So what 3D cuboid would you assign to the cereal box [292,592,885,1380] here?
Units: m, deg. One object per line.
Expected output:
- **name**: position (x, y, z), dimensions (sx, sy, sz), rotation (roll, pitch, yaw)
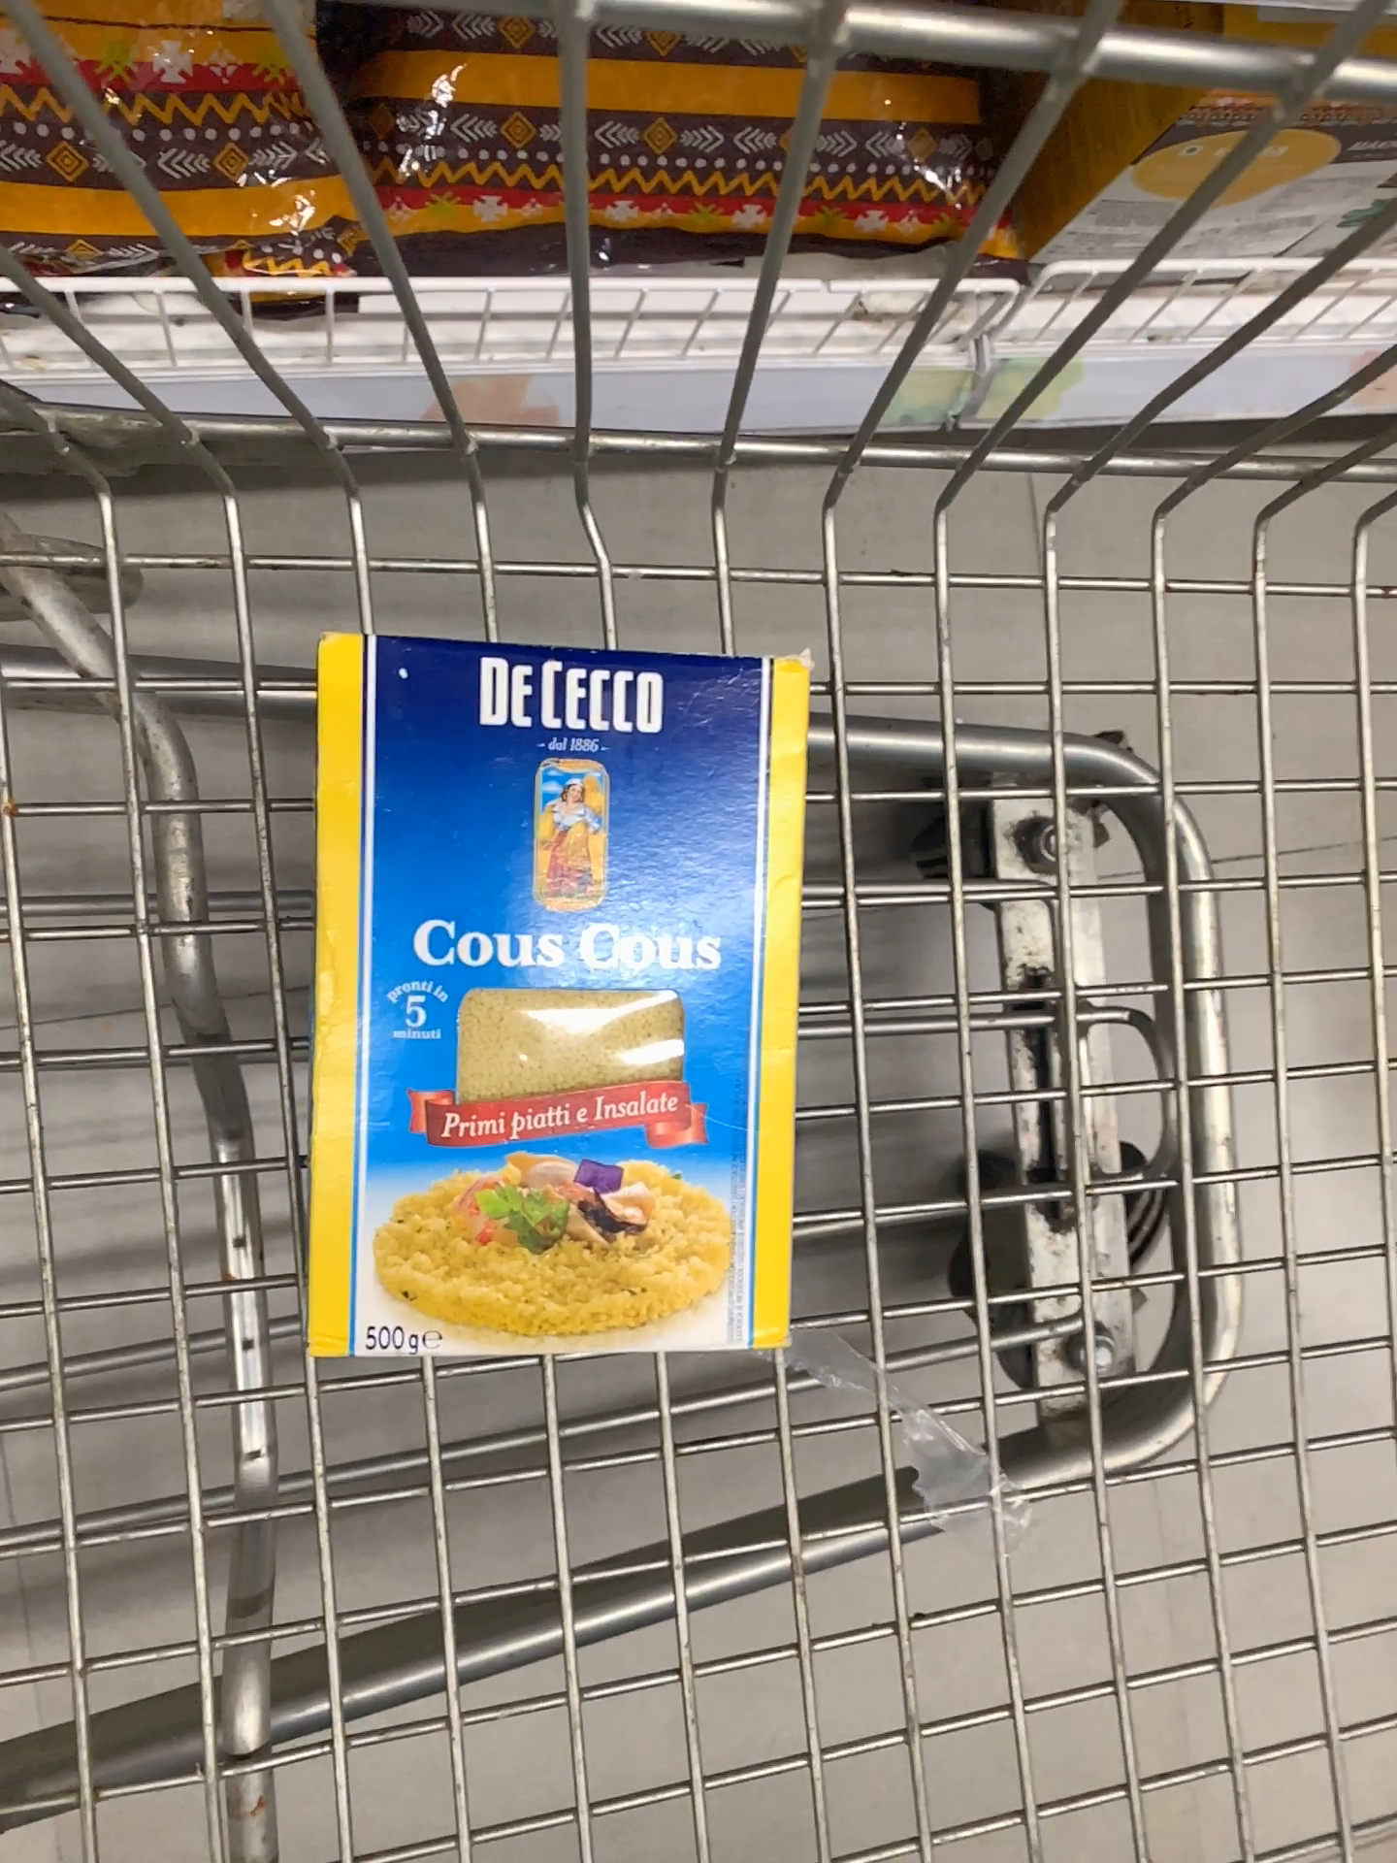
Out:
- **cereal box**: position (-0.025, 0.012, 0.324), dimensions (0.120, 0.050, 0.160), rotation (1, 91, -8)
